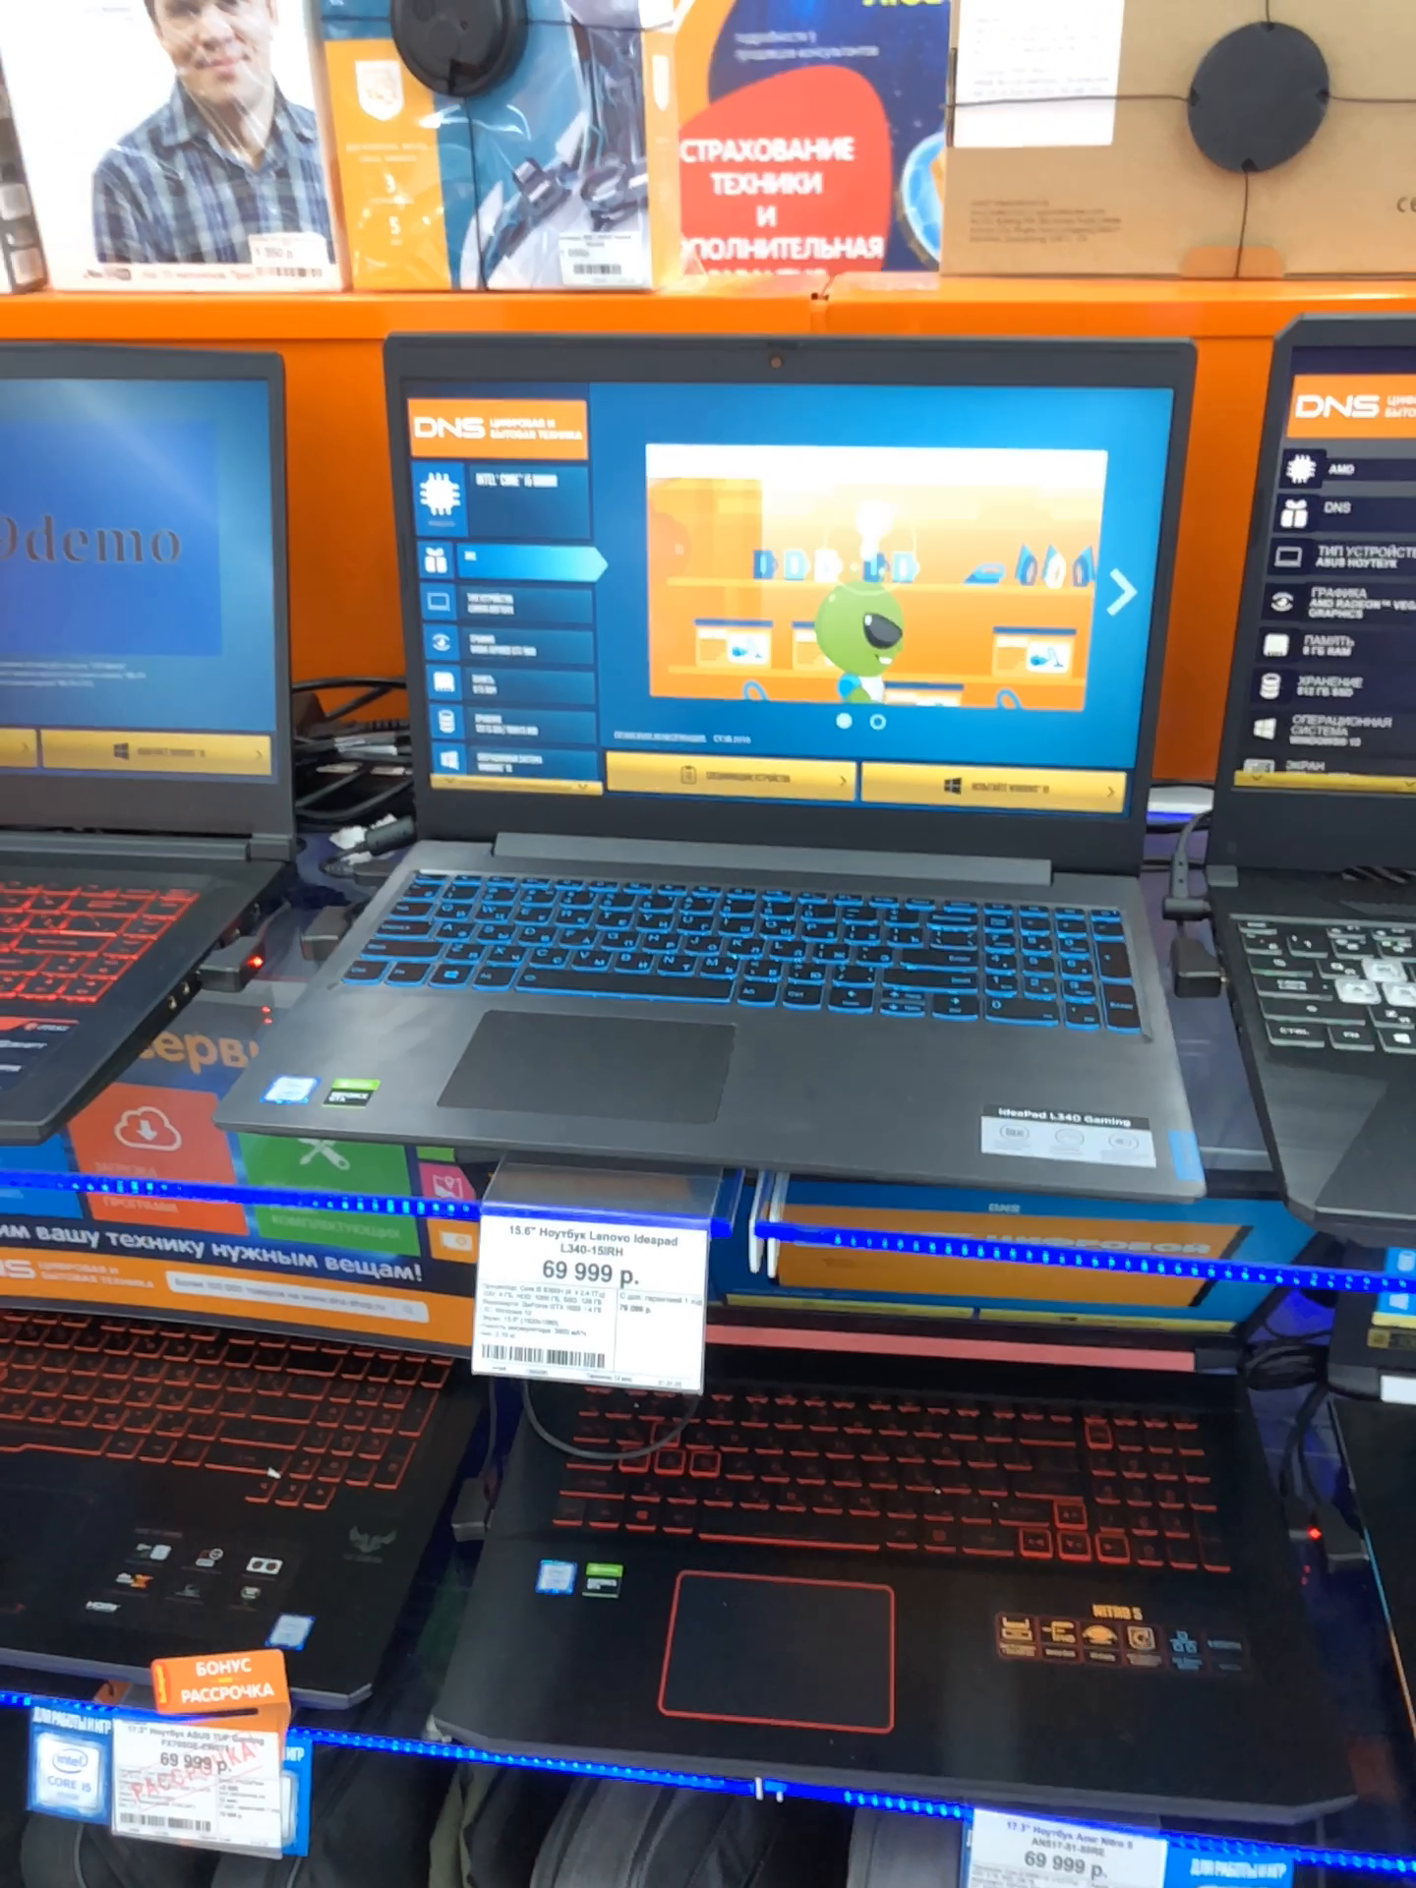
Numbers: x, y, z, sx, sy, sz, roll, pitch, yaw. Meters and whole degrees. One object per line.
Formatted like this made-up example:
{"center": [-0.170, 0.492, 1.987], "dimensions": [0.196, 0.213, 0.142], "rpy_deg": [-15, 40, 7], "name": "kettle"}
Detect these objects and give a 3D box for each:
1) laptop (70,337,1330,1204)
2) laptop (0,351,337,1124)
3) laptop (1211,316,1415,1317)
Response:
{"center": [0.010, -0.094, 0.611], "dimensions": [0.356, 0.235, 0.279], "rpy_deg": [3, 28, 8], "name": "laptop"}
{"center": [-0.403, -0.117, 0.681], "dimensions": [0.356, 0.224, 0.320], "rpy_deg": [3, 28, 7], "name": "laptop"}
{"center": [0.394, -0.073, 0.547], "dimensions": [0.368, 0.244, 0.274], "rpy_deg": [4, 28, 10], "name": "laptop"}
